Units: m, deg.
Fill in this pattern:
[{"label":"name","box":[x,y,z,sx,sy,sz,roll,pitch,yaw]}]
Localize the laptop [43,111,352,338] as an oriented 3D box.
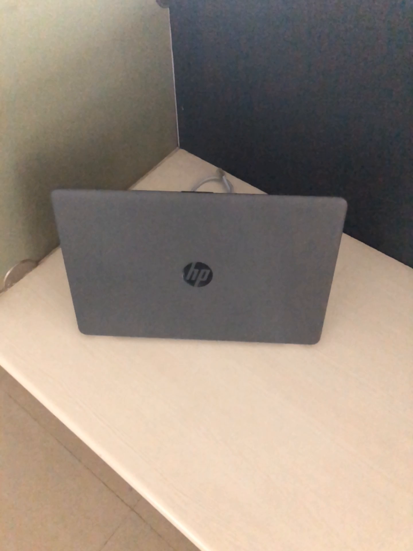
[{"label":"laptop","box":[-0.005,-0.074,0.680,0.359,0.216,0.239,2,55,4]}]
